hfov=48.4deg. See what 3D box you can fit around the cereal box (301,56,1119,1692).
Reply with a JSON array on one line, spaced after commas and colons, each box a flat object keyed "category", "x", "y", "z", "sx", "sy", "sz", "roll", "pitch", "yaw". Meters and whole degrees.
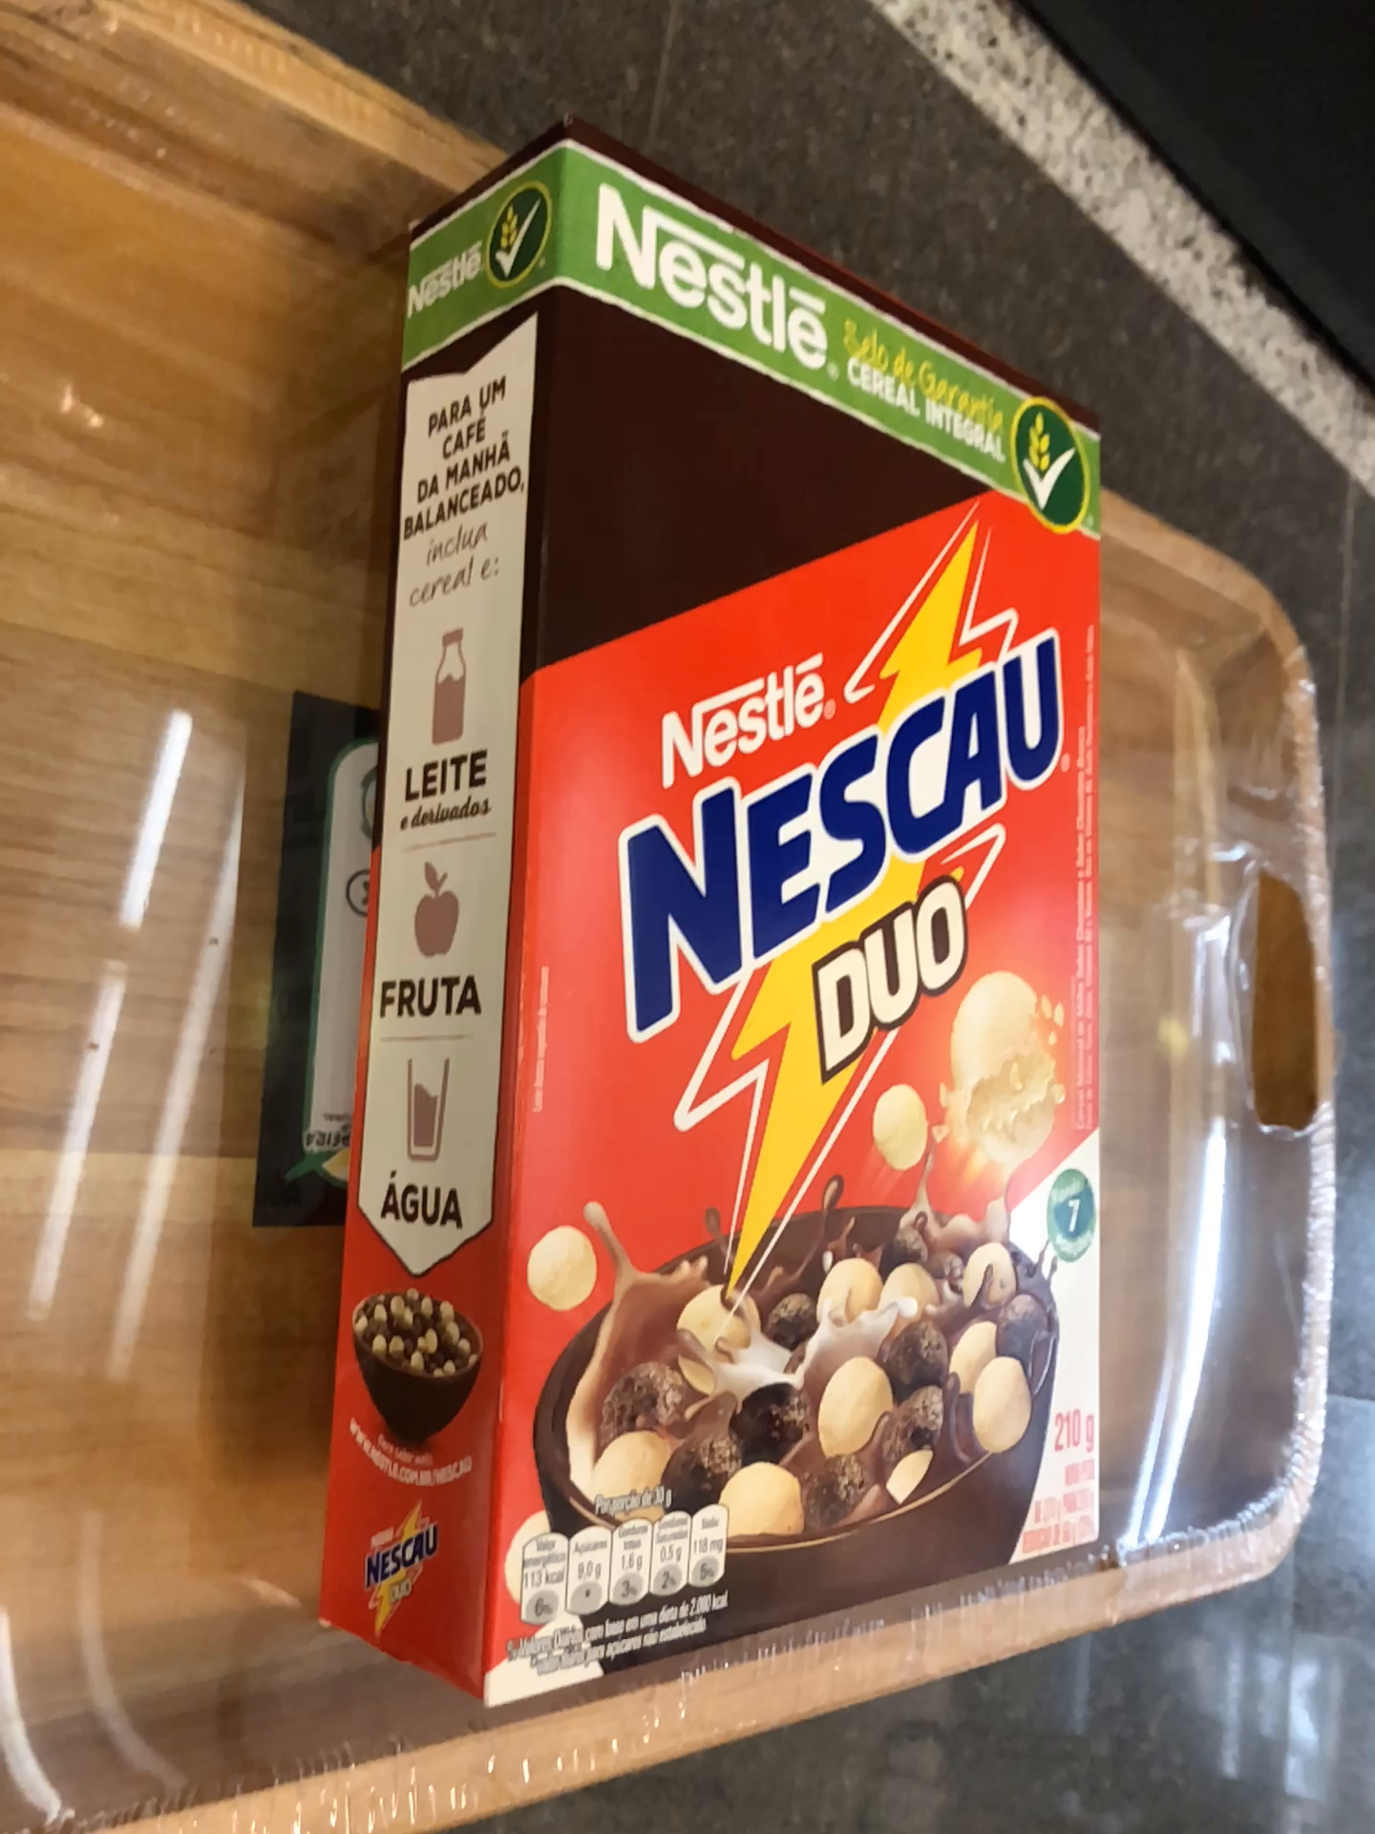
[{"category": "cereal box", "x": 0.018, "y": -0.004, "z": 0.303, "sx": 0.161, "sy": 0.050, "sz": 0.250, "roll": 9, "pitch": 80, "yaw": -41}]
